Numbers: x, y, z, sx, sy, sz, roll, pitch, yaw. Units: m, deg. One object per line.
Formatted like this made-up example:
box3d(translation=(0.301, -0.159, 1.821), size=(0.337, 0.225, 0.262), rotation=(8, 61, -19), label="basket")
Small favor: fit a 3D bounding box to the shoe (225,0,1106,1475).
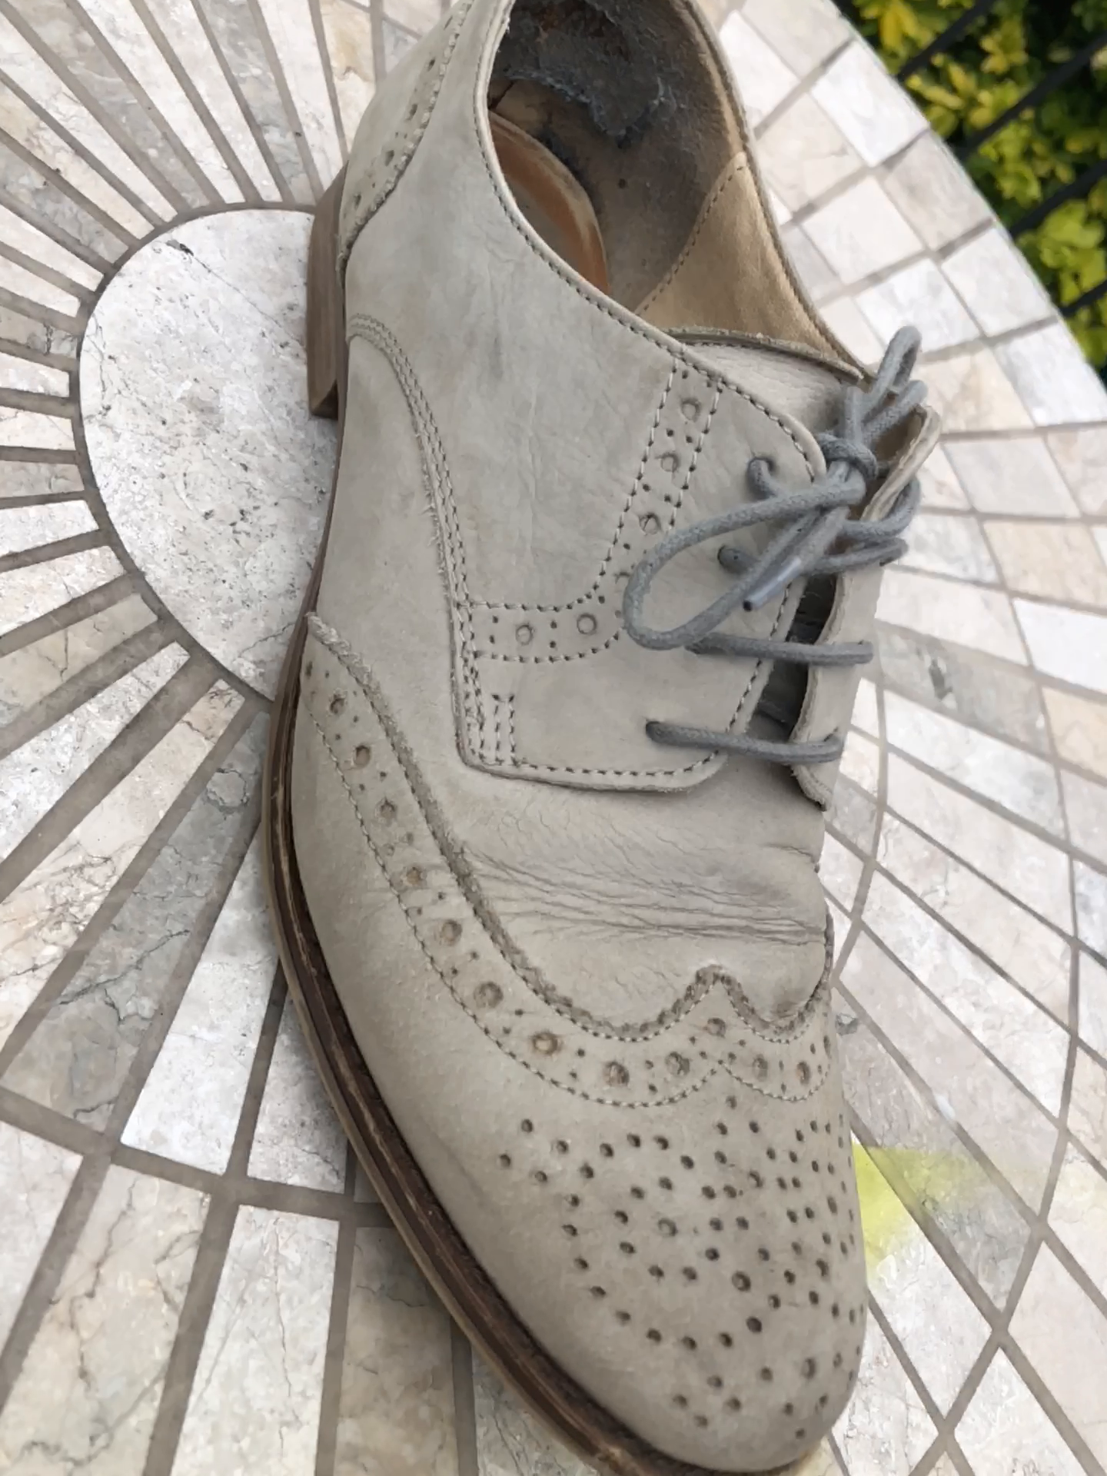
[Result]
box3d(translation=(0.009, -0.020, 0.206), size=(0.090, 0.078, 0.257), rotation=(7, 64, -36), label="shoe")
